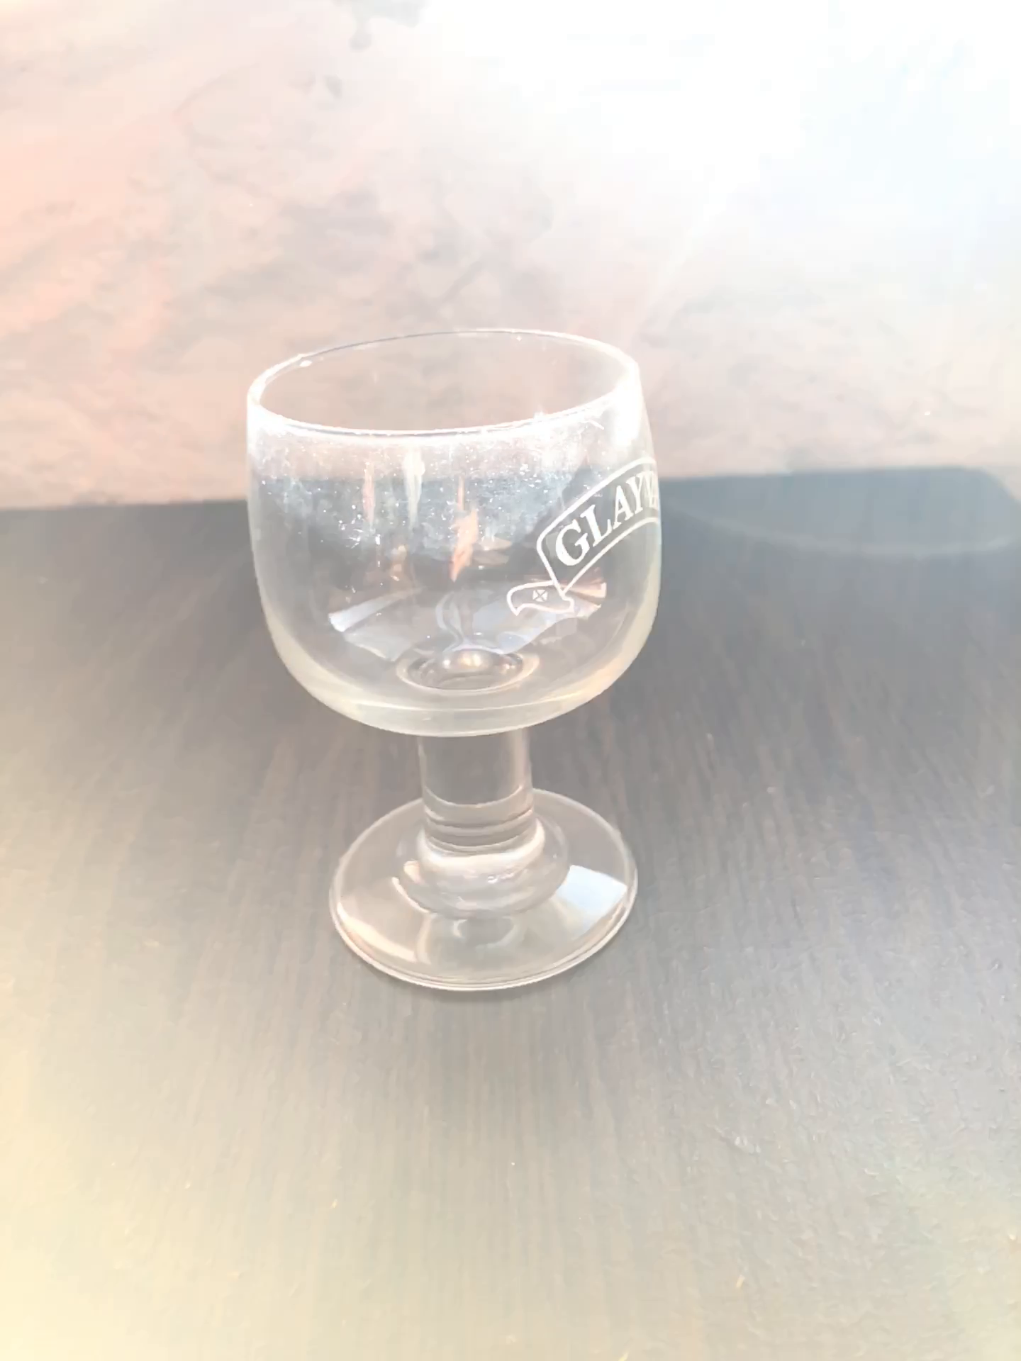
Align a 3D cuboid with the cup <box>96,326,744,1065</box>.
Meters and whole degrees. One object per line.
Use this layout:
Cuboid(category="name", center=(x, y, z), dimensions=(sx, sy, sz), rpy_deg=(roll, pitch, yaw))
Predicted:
Cuboid(category="cup", center=(-0.011, -0.005, 0.226), dimensions=(0.085, 0.107, 0.077), rpy_deg=(15, 32, 32))
